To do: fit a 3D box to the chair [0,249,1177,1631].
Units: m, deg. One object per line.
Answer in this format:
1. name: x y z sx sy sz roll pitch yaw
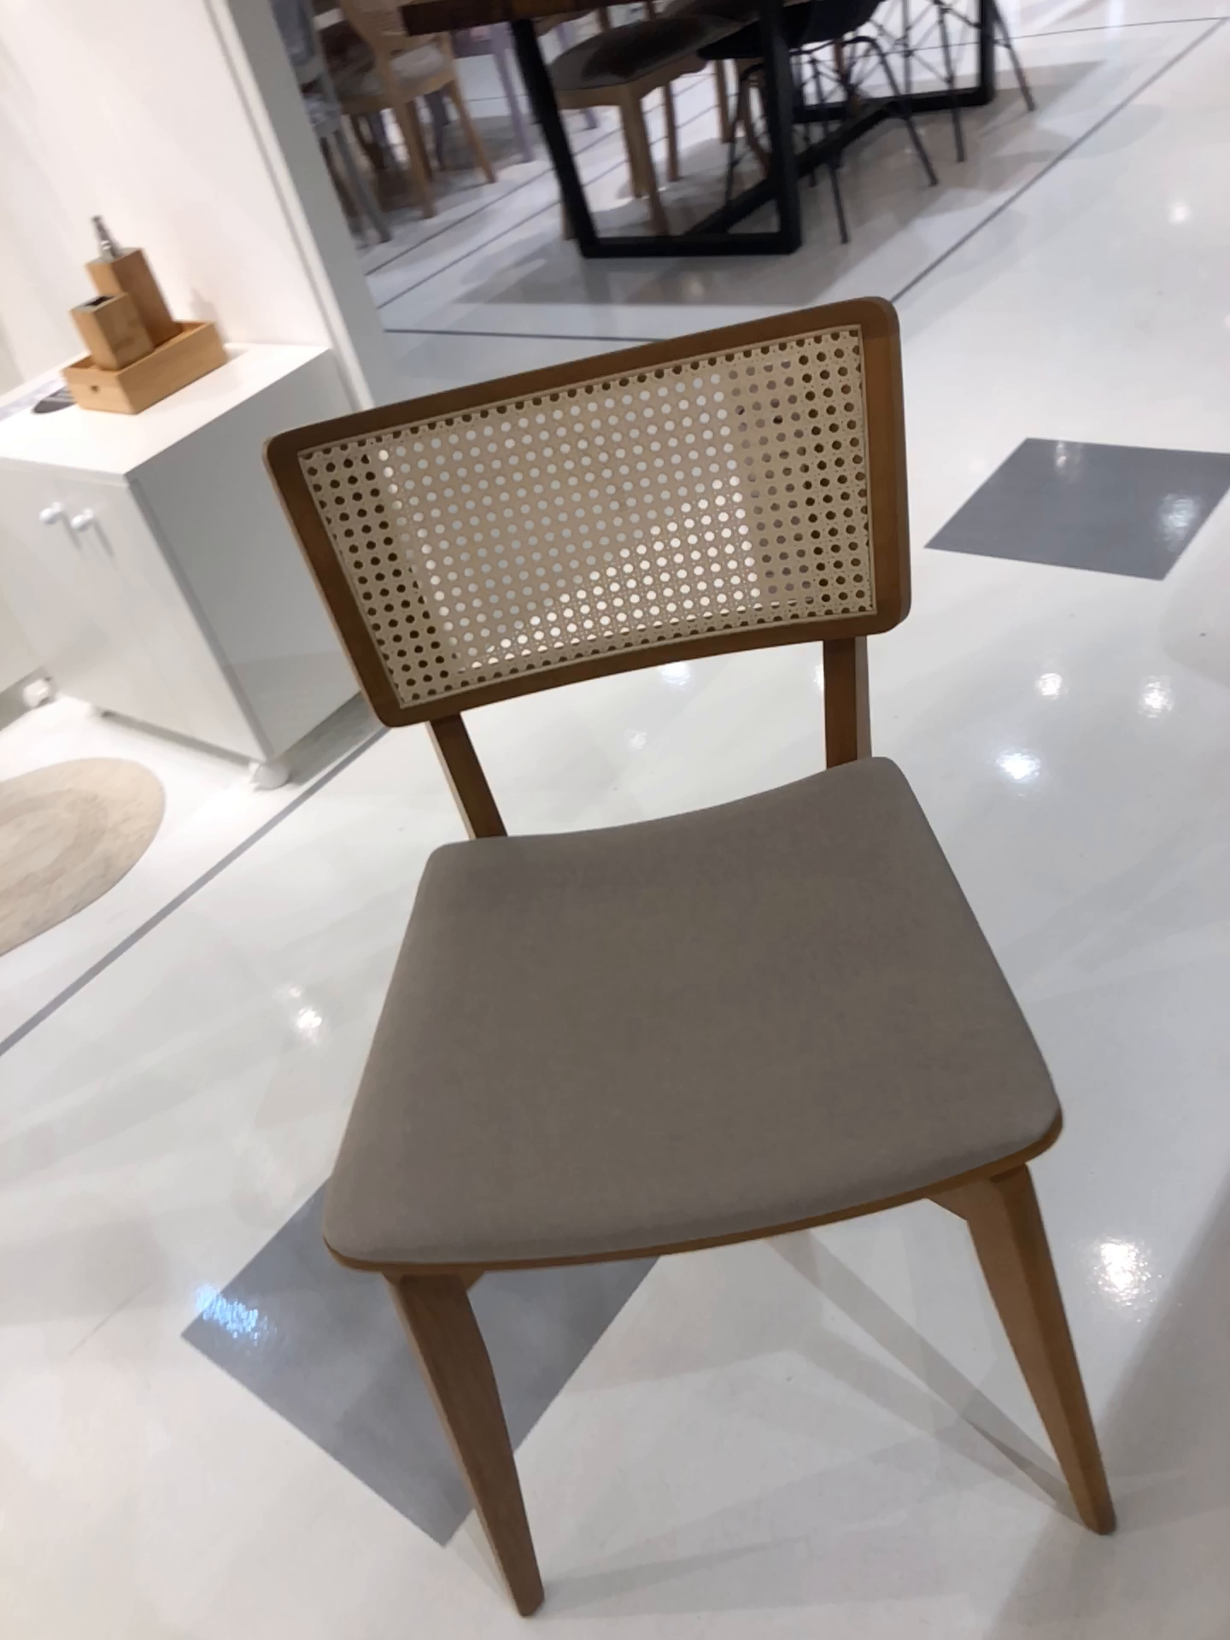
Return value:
1. chair: 0.052 0.114 1.054 0.540 0.794 0.605 -11 38 8
